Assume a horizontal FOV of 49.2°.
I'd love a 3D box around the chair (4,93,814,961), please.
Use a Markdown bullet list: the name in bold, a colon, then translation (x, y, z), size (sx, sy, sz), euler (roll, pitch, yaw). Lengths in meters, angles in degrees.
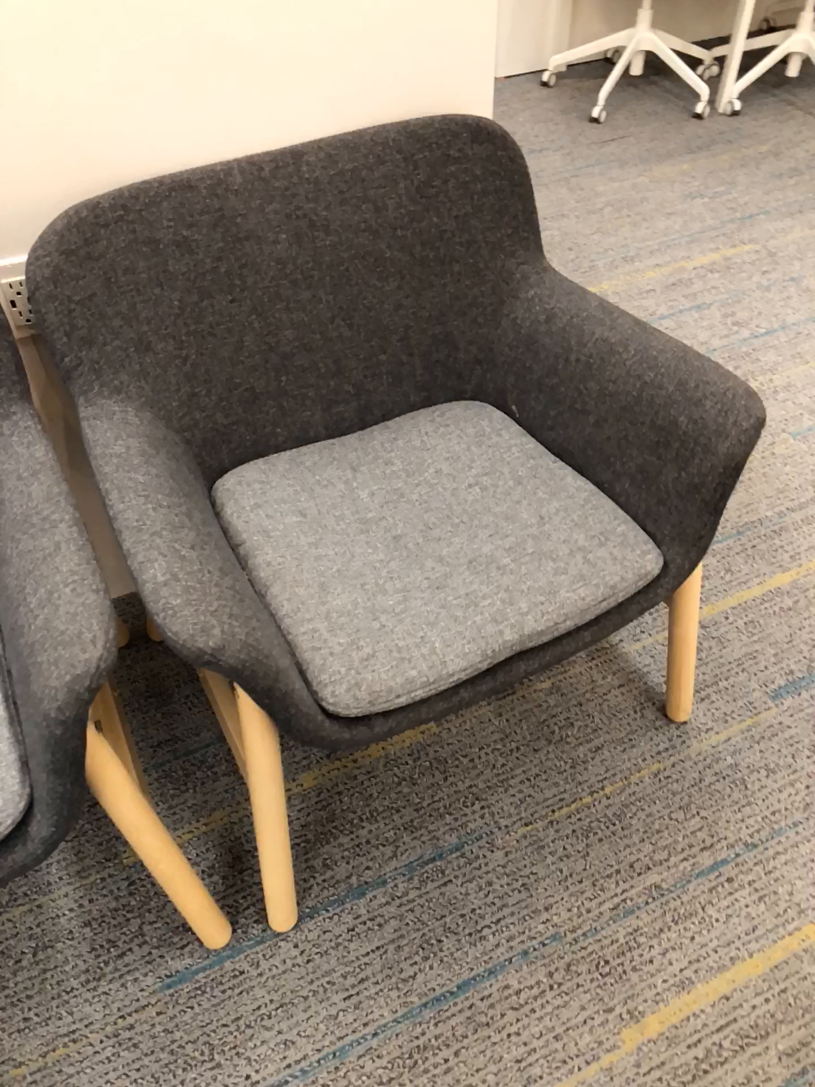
- **chair**: translation (-0.030, -0.043, 1.316), size (0.740, 0.834, 0.734), euler (-18, 48, -16)
